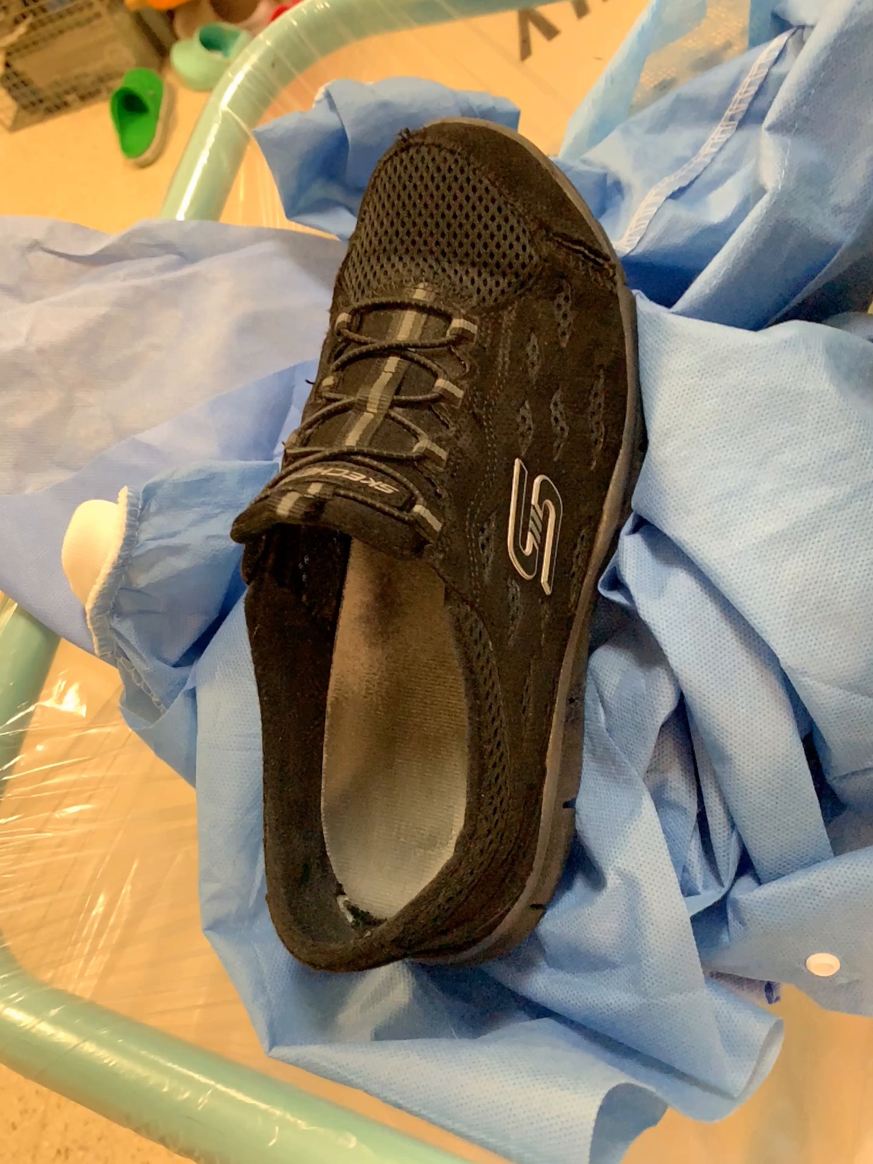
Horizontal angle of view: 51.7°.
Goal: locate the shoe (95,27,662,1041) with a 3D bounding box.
[{"bbox_3d":[0.000,-0.018,0.270,0.088,0.094,0.254,3,73,25],"label":"shoe"}]
